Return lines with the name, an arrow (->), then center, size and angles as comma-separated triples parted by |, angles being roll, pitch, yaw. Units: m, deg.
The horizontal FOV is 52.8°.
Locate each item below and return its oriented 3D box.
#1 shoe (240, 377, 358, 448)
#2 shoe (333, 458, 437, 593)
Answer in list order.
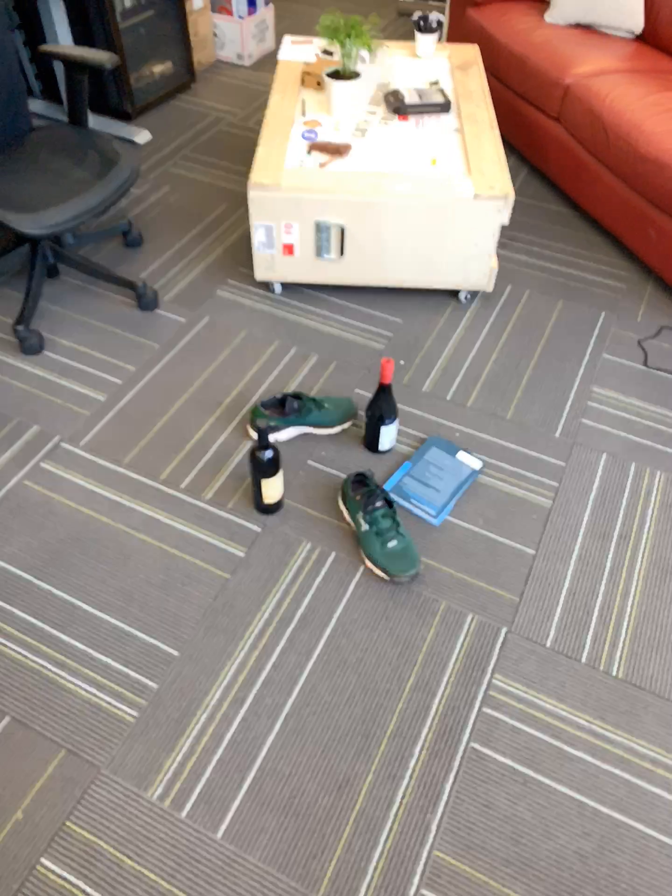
shoe -> -0.099, -0.097, 1.808 | 0.290, 0.080, 0.121 | -10, 50, -10
shoe -> 0.103, 0.173, 1.543 | 0.130, 0.139, 0.241 | -19, 52, -17
